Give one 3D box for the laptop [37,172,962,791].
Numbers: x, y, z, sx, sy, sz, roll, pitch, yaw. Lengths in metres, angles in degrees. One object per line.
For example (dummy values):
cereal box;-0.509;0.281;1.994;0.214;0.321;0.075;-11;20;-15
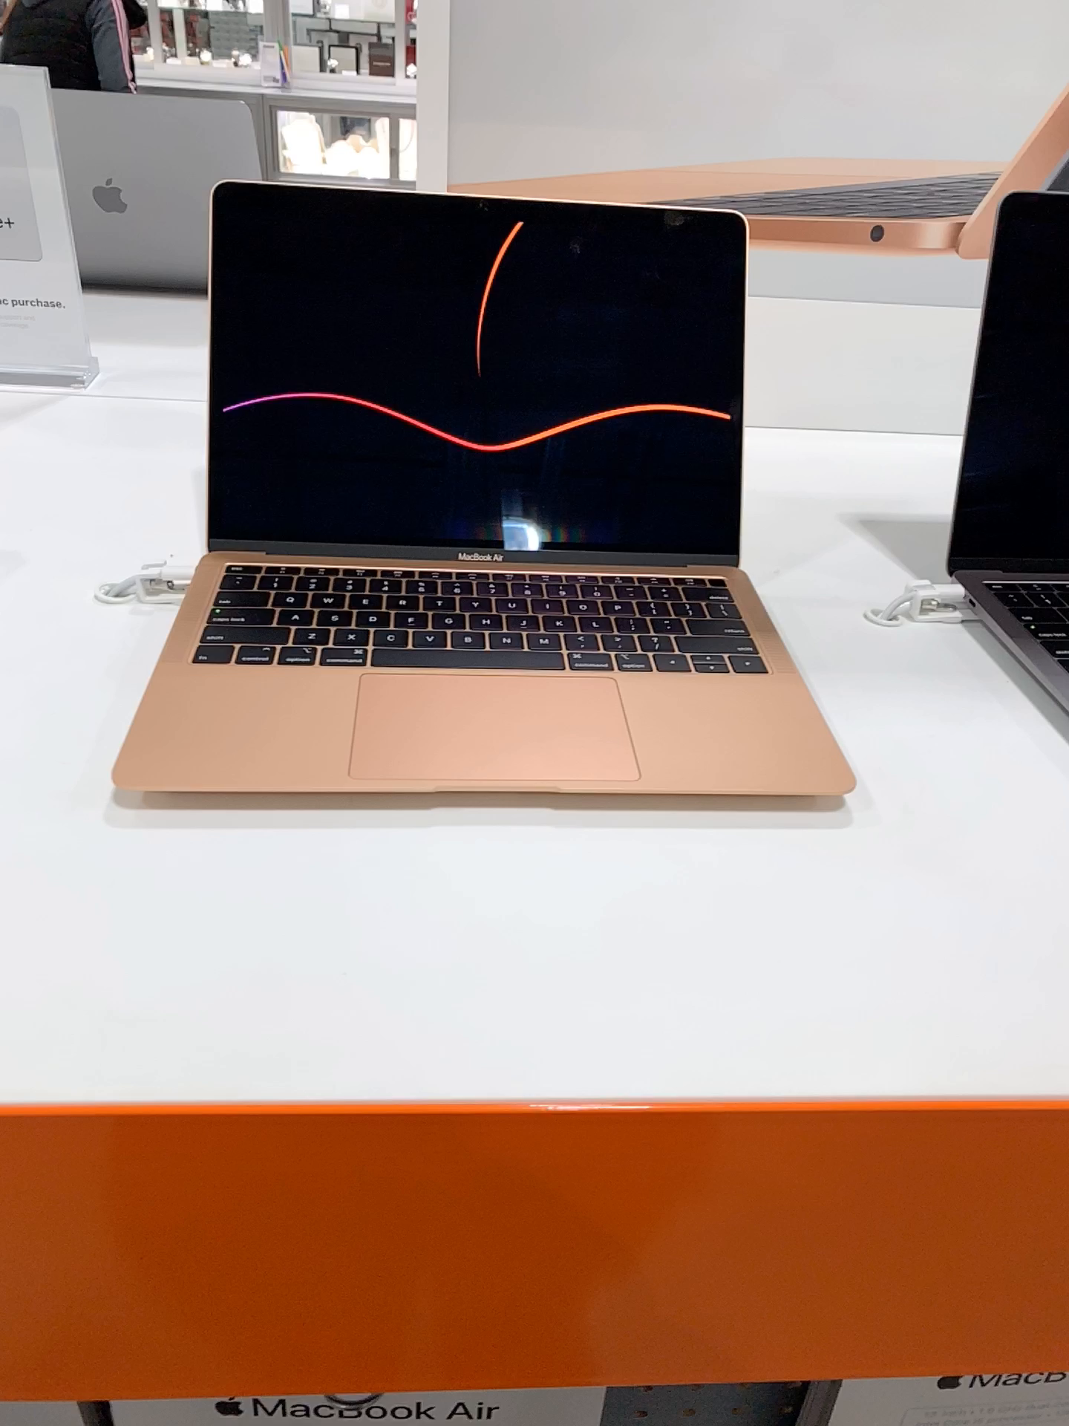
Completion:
laptop;-0.021;-0.129;0.519;0.293;0.170;0.311;1;33;-6
